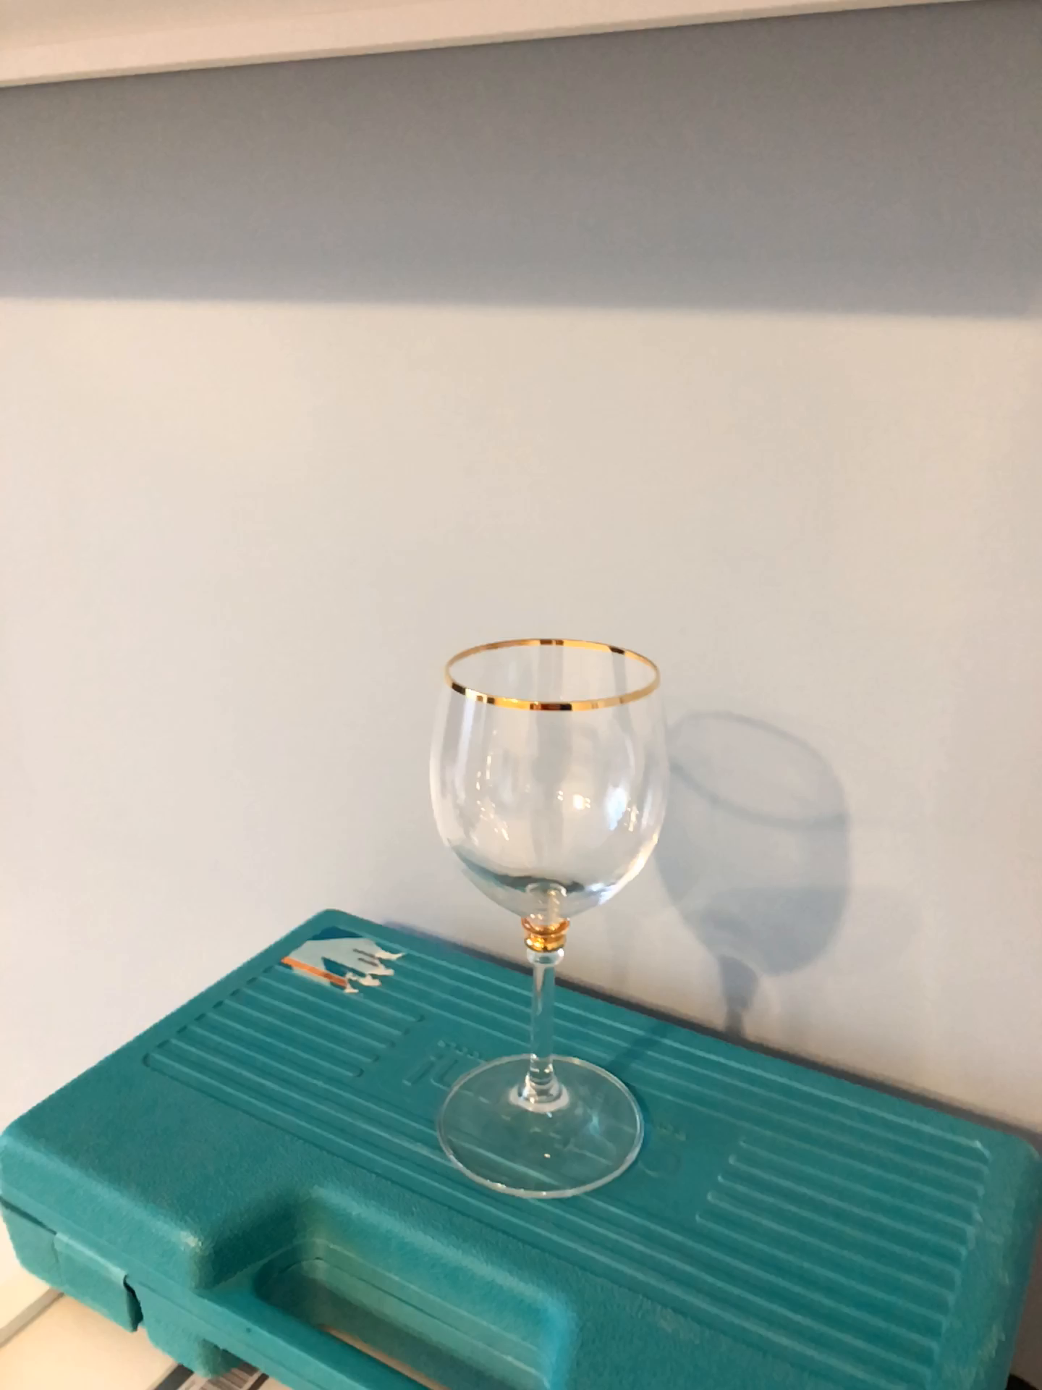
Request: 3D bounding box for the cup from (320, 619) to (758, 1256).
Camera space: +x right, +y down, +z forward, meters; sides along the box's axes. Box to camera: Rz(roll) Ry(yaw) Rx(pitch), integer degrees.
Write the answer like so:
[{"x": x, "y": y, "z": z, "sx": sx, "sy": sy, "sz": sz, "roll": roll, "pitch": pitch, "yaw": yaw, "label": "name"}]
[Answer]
[{"x": 0.008, "y": 0.070, "z": 0.385, "sx": 0.100, "sy": 0.159, "sz": 0.100, "roll": 0, "pitch": 19, "yaw": 0, "label": "cup"}]
